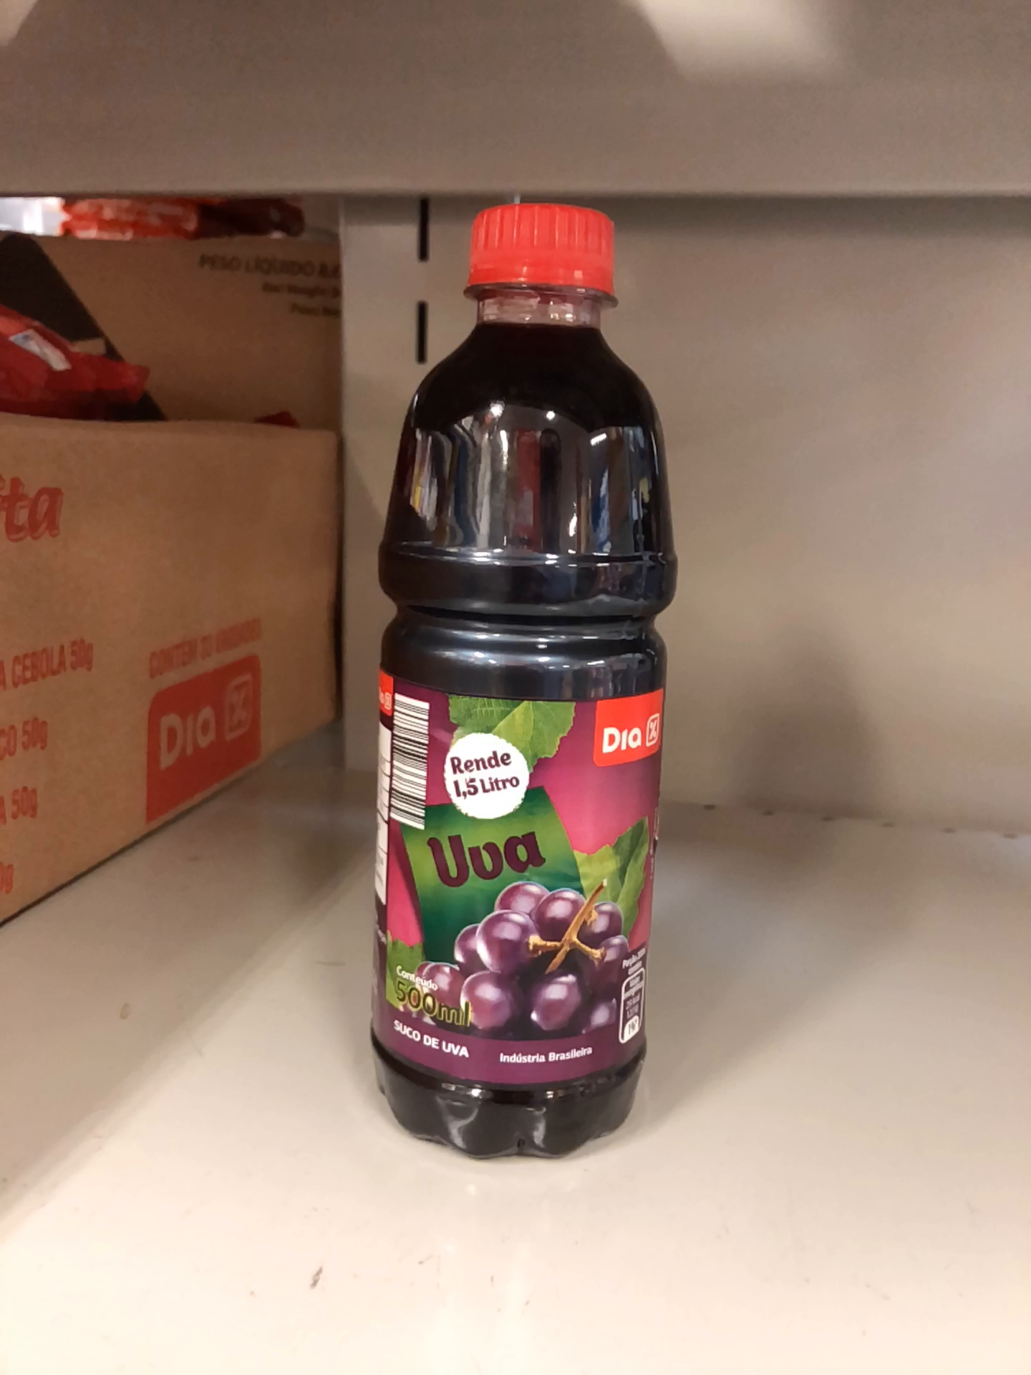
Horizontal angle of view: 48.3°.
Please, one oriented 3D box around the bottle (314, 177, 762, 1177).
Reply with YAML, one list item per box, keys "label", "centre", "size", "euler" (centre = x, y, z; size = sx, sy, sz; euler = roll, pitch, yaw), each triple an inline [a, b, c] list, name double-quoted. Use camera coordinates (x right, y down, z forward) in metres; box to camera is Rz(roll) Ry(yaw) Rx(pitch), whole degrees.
- label: "bottle"
  centre: [0.001, 0.000, 0.260]
  size: [0.080, 0.199, 0.070]
  euler: [1, 12, -3]
